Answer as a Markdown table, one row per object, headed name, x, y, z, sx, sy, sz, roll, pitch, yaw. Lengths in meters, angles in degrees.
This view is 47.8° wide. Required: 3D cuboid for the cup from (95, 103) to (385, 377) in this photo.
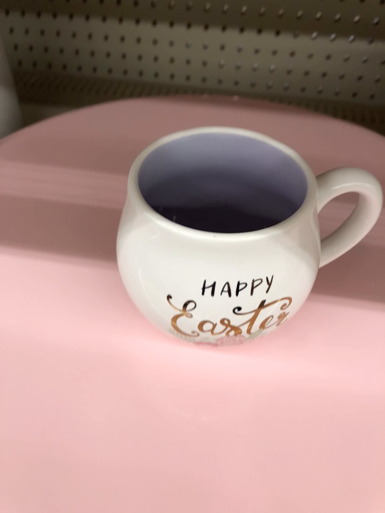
| name | x | y | z | sx | sy | sz | roll | pitch | yaw |
| --- | --- | --- | --- | --- | --- | --- | --- | --- | --- |
| cup | 0.025 | -0.012 | 0.212 | 0.130 | 0.080 | 0.090 | -7 | 47 | -8 |
